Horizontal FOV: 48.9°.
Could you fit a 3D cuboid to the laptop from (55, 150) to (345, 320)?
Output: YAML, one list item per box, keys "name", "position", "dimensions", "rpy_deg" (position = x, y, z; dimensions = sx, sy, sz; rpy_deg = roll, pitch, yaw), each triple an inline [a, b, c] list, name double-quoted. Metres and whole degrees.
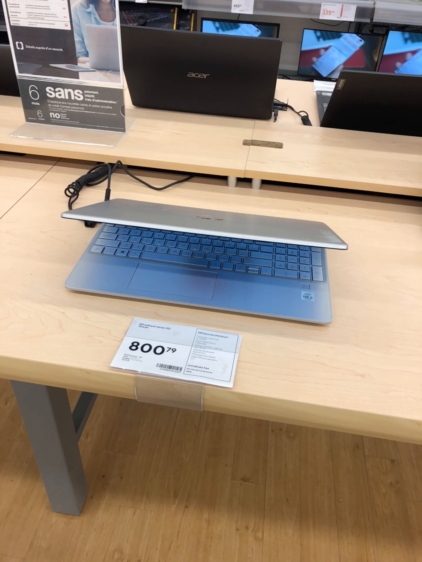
- name: "laptop"
  position: [-0.001, -0.078, 0.650]
  dimensions: [0.340, 0.086, 0.225]
  rpy_deg: [8, 40, 4]
